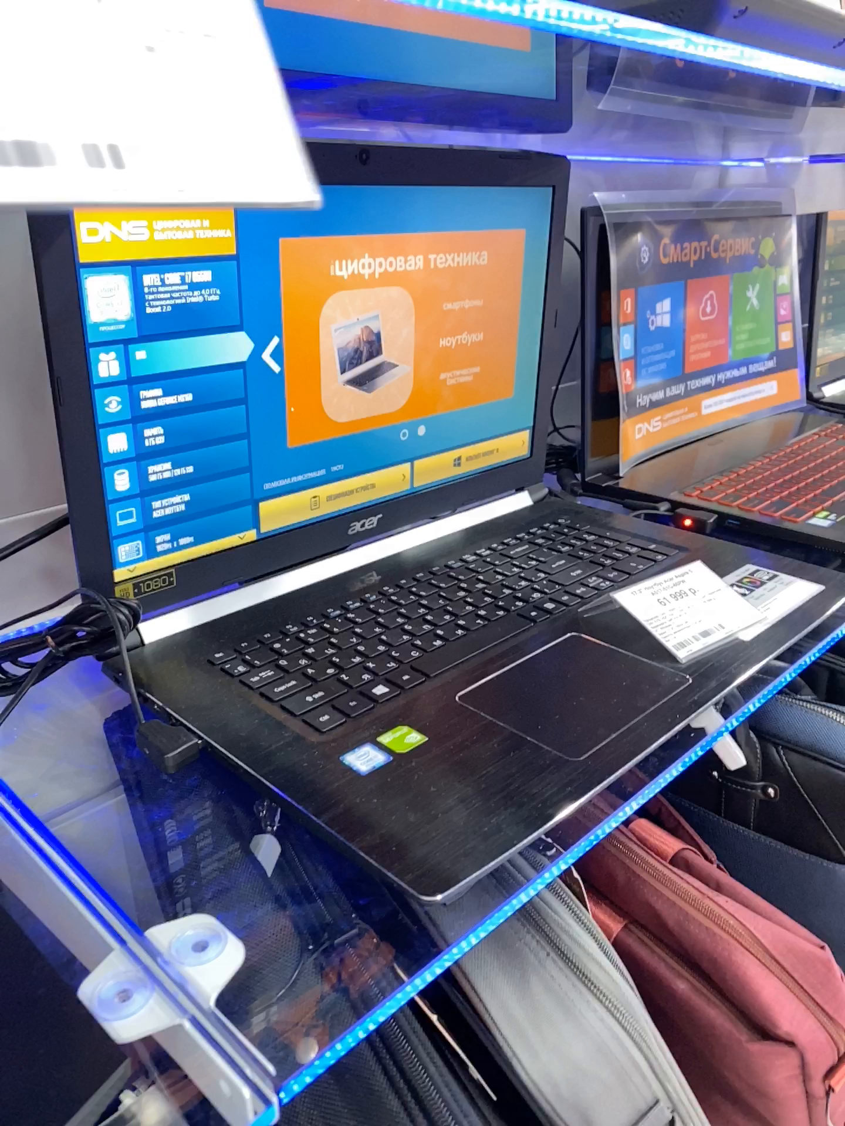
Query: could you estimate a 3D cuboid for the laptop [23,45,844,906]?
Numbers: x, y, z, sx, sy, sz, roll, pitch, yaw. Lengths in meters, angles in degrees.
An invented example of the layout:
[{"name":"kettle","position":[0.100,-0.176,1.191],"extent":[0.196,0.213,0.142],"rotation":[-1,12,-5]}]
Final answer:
[{"name":"laptop","position":[0.059,-0.093,0.499],"extent":[0.422,0.277,0.273],"rotation":[-20,29,-41]}]
